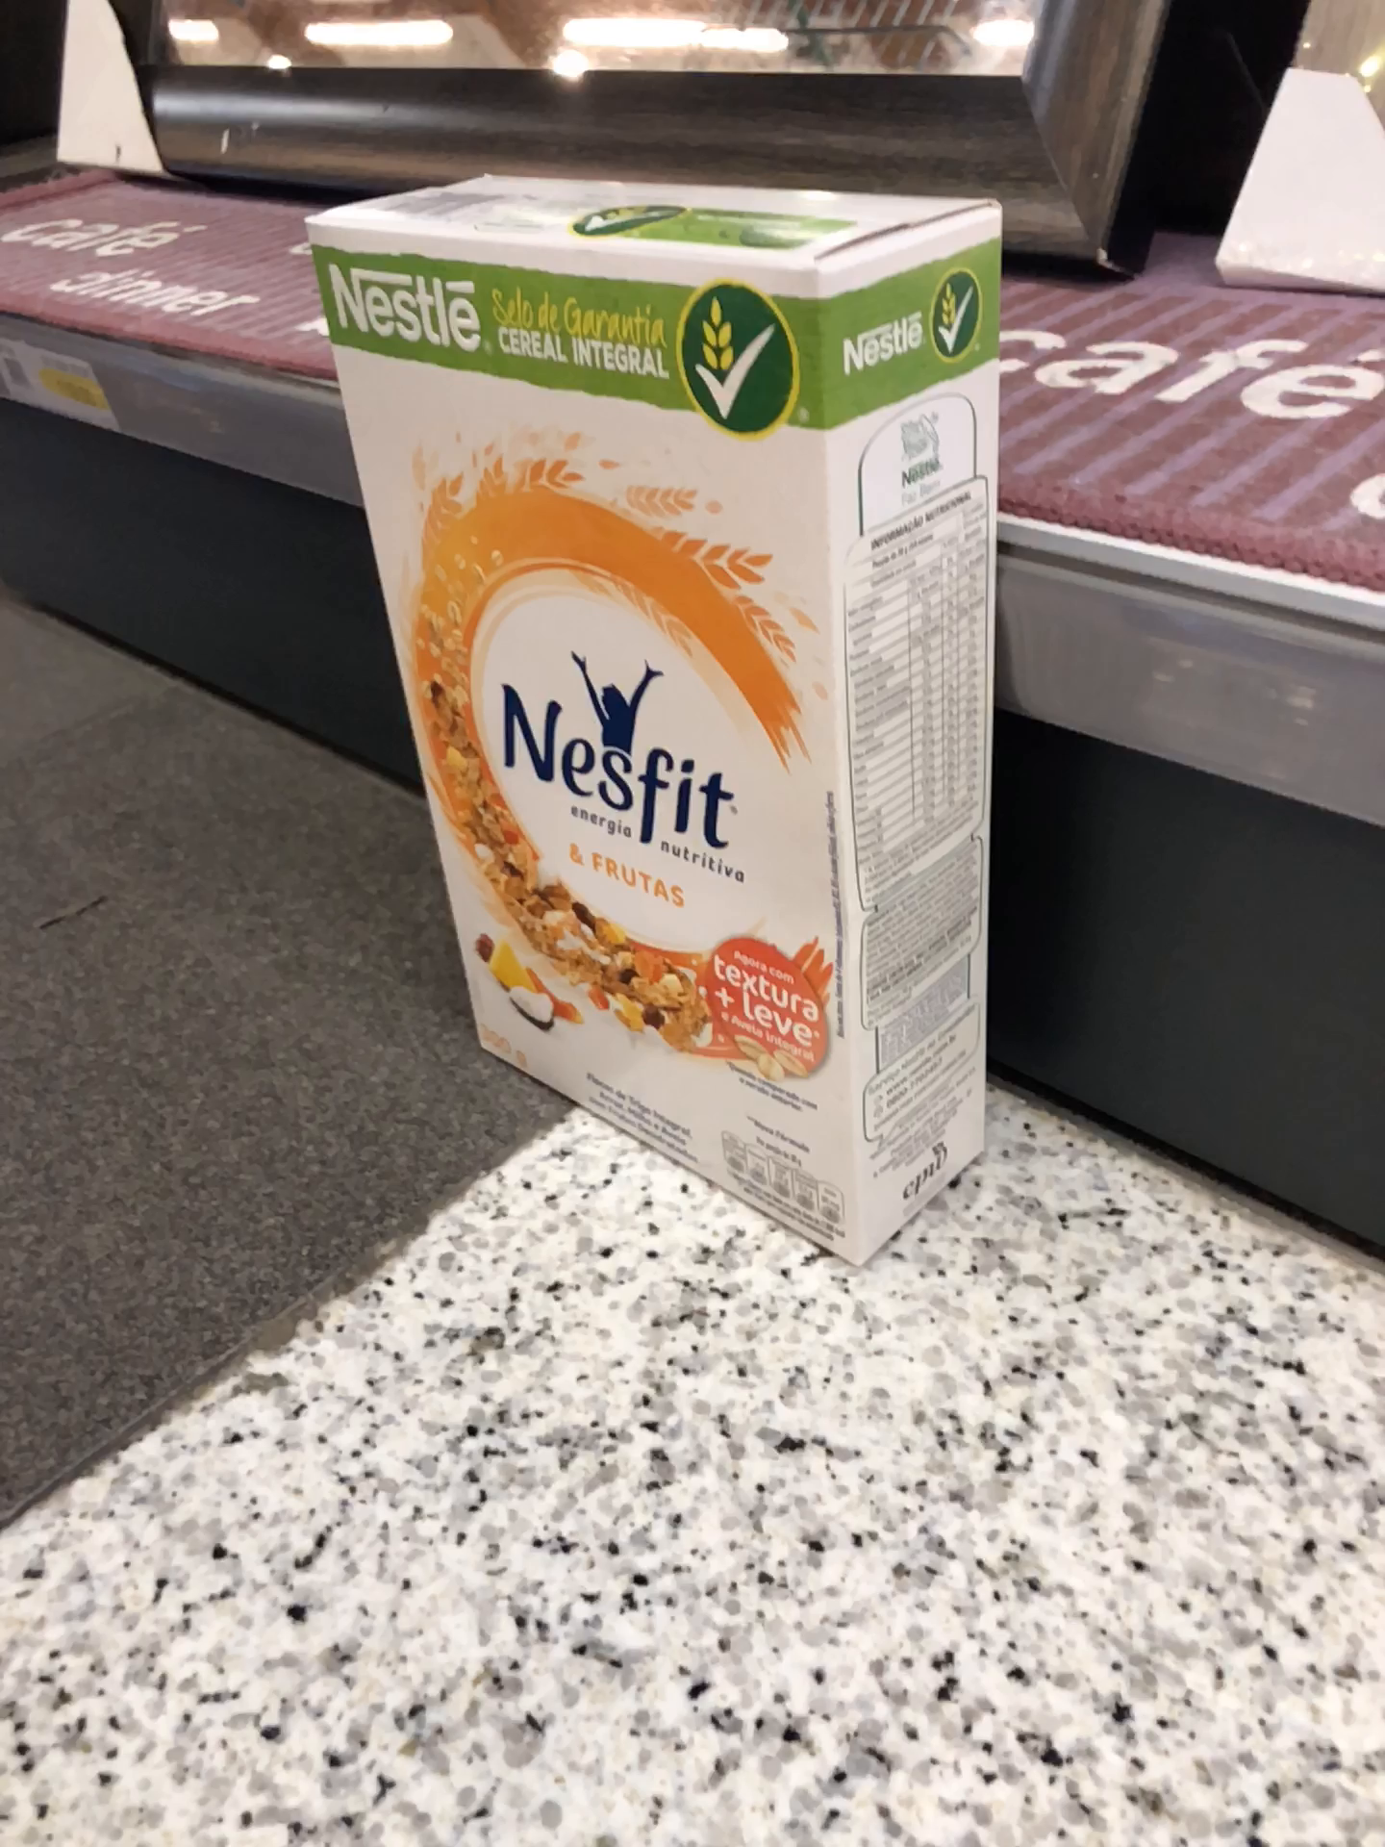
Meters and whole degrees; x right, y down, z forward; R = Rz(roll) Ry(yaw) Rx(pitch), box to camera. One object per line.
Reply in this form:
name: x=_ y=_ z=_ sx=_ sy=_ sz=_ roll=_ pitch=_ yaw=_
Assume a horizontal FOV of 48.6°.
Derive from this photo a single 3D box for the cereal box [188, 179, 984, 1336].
cereal box: x=-0.017 y=-0.041 z=0.381 sx=0.171 sy=0.248 sz=0.060 roll=23 pitch=45 yaw=37
